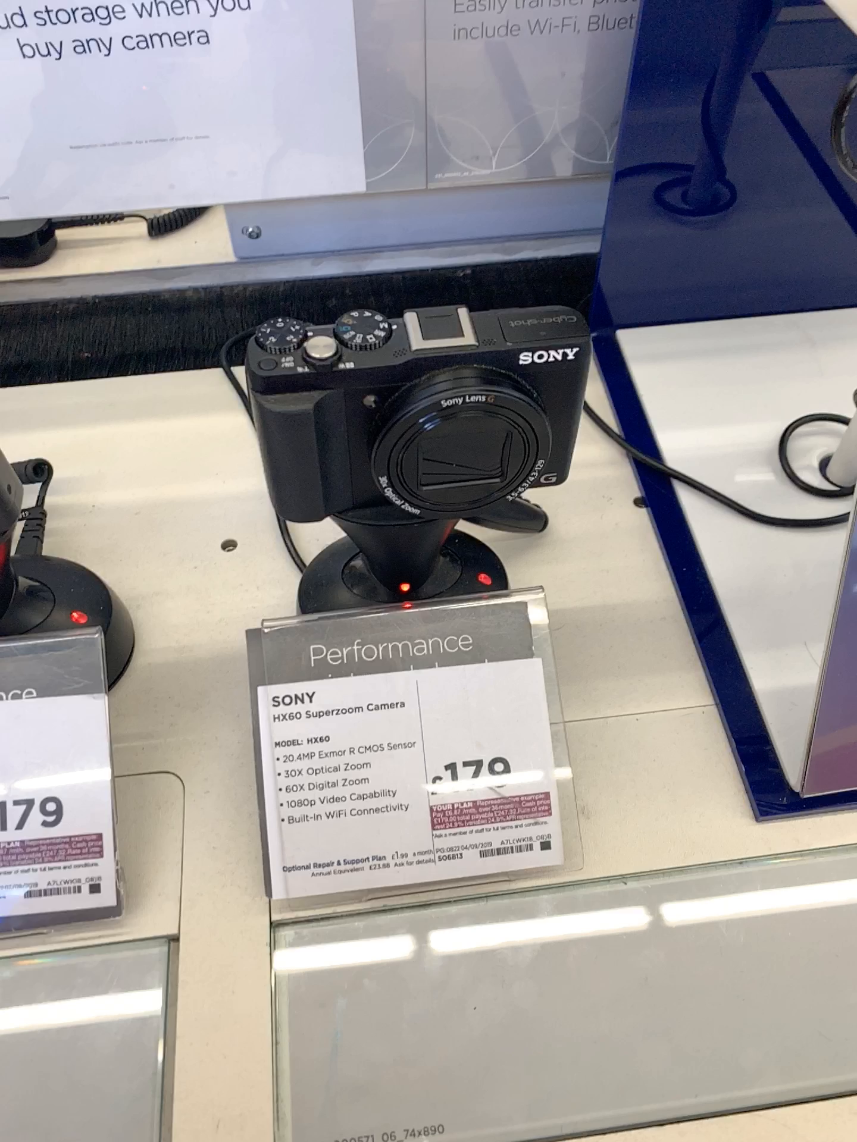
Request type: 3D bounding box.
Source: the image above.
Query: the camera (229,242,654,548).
[{"bbox_3d":[0.002,-0.051,0.267,0.110,0.069,0.040,-8,54,-5],"label":"camera"}]
